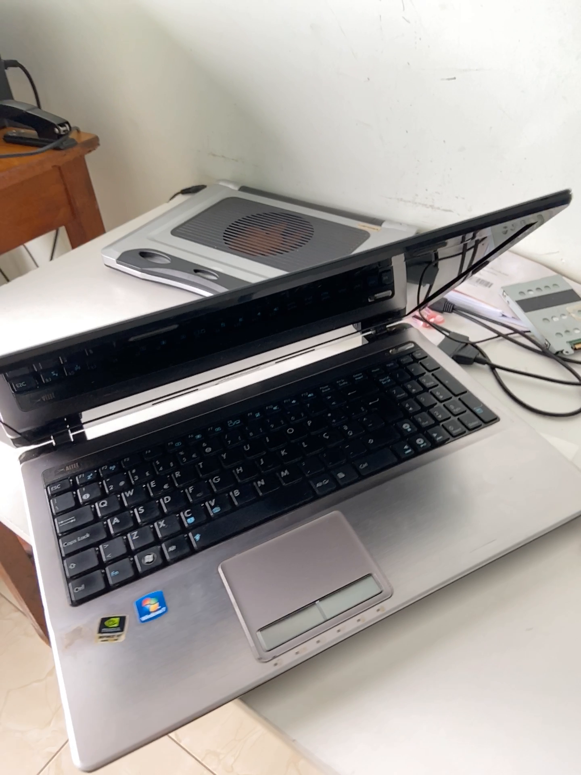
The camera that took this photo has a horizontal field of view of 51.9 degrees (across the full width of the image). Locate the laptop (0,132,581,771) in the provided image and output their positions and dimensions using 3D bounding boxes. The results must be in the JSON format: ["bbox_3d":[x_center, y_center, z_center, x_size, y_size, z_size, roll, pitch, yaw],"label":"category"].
[{"bbox_3d":[-0.002,-0.003,0.393,0.377,0.182,0.247,-20,43,-18],"label":"laptop"}]
